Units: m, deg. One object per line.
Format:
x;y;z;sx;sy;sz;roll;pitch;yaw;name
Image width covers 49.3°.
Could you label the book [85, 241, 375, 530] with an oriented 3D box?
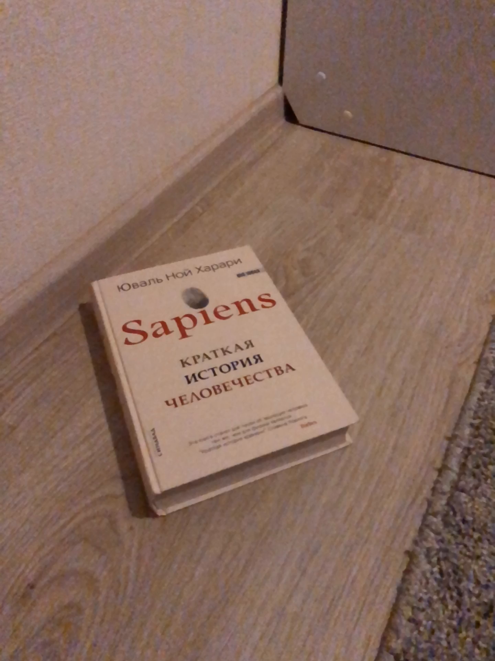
-0.032;0.026;0.502;0.187;0.040;0.259;-15;48;-15;book
